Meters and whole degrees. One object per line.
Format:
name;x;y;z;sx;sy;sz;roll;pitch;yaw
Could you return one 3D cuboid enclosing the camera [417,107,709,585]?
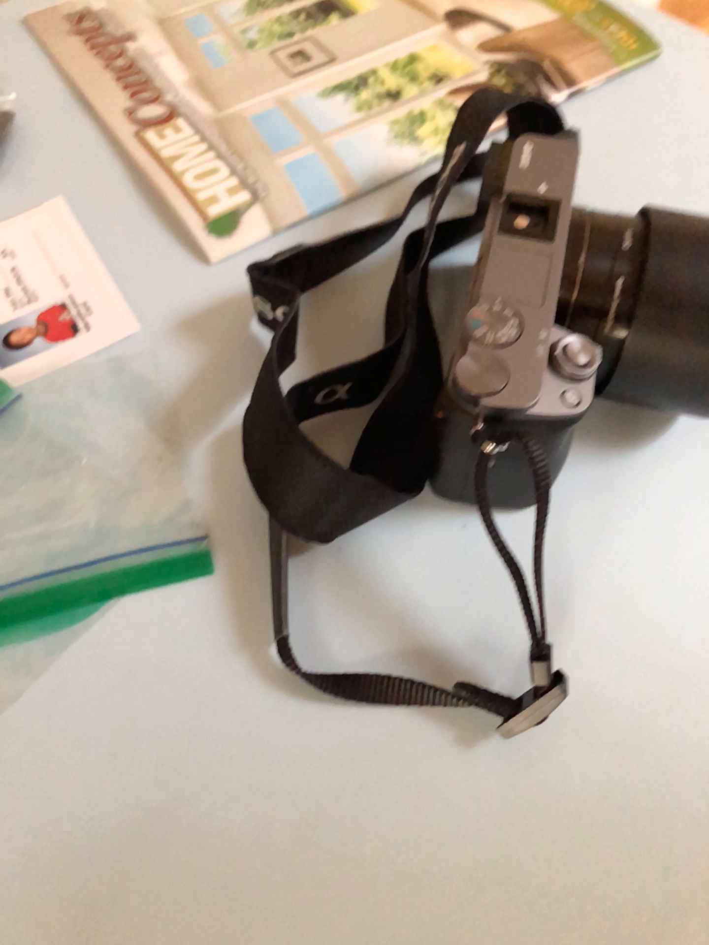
camera;0.093;-0.046;0.278;0.110;0.070;0.130;14;61;6
